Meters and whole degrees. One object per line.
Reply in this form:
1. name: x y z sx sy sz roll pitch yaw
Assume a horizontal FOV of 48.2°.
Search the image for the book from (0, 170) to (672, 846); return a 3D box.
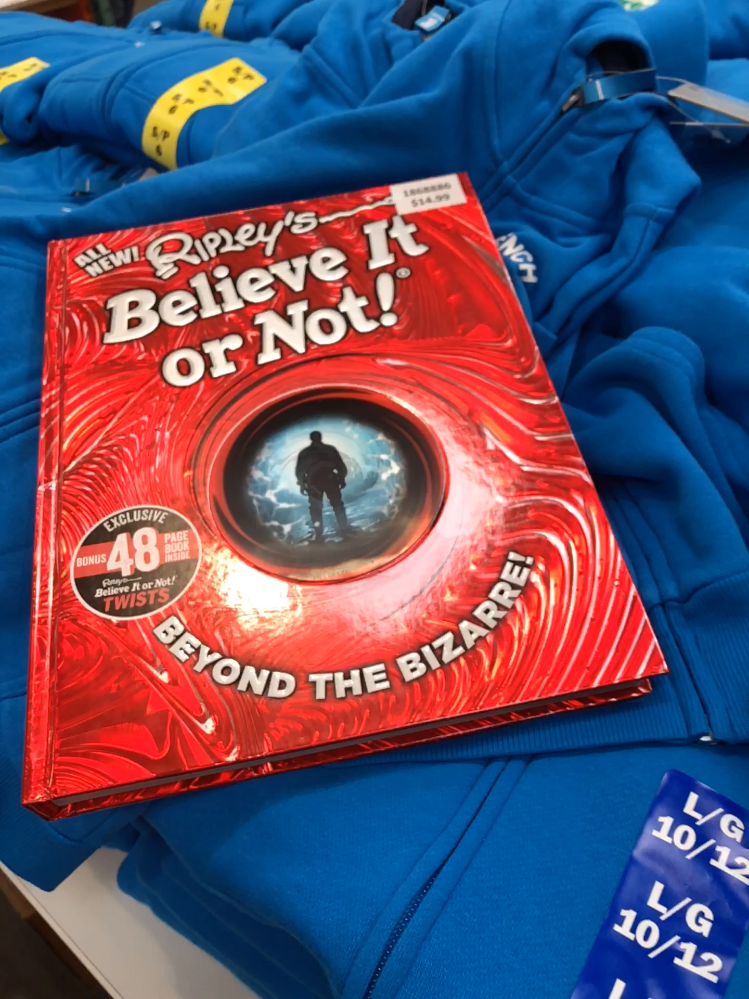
1. book: -0.041 -0.027 0.384 0.244 0.028 0.304 -10 57 -3
